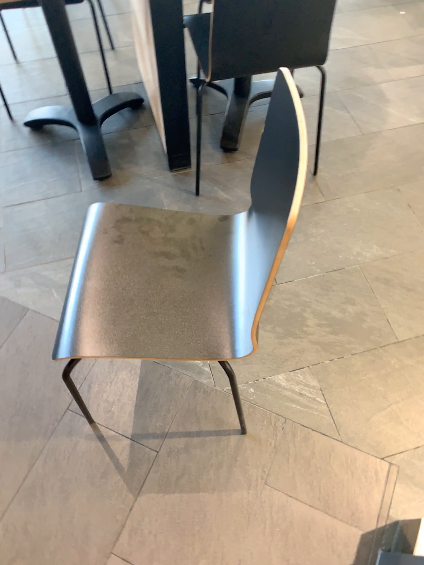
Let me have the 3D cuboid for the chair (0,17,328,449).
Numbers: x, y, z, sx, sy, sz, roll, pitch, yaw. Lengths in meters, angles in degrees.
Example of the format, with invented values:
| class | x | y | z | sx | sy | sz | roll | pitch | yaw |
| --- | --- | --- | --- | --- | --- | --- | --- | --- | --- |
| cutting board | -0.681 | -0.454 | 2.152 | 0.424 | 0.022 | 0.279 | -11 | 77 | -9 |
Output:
| class | x | y | z | sx | sy | sz | roll | pitch | yaw |
| --- | --- | --- | --- | --- | --- | --- | --- | --- | --- |
| chair | -0.124 | 0.004 | 0.944 | 0.520 | 0.838 | 0.521 | 3 | 60 | 2 |
